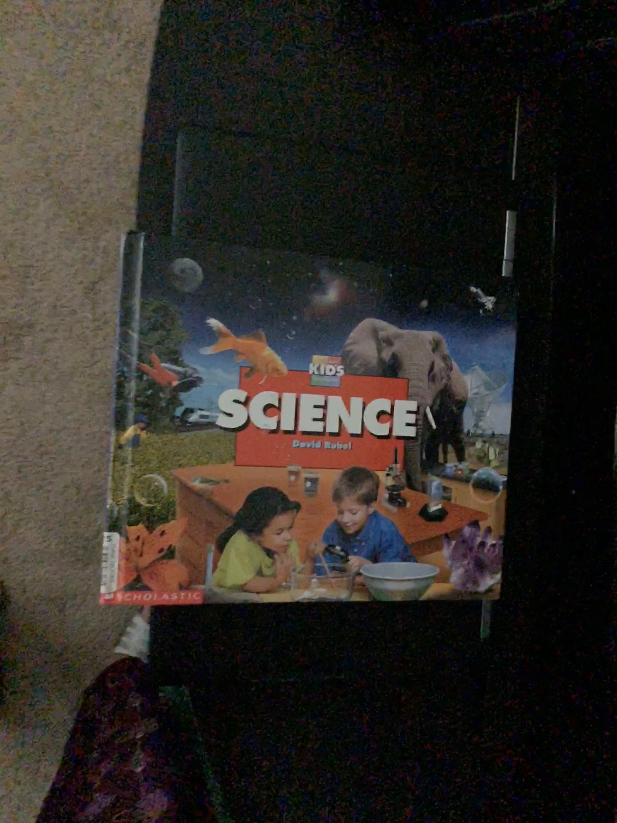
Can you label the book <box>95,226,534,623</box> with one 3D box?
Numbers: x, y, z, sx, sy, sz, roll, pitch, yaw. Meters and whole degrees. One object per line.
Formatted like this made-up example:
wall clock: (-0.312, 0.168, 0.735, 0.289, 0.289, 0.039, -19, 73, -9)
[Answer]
book: (0.011, 0.017, 0.429, 0.280, 0.030, 0.240, 4, 90, -13)
